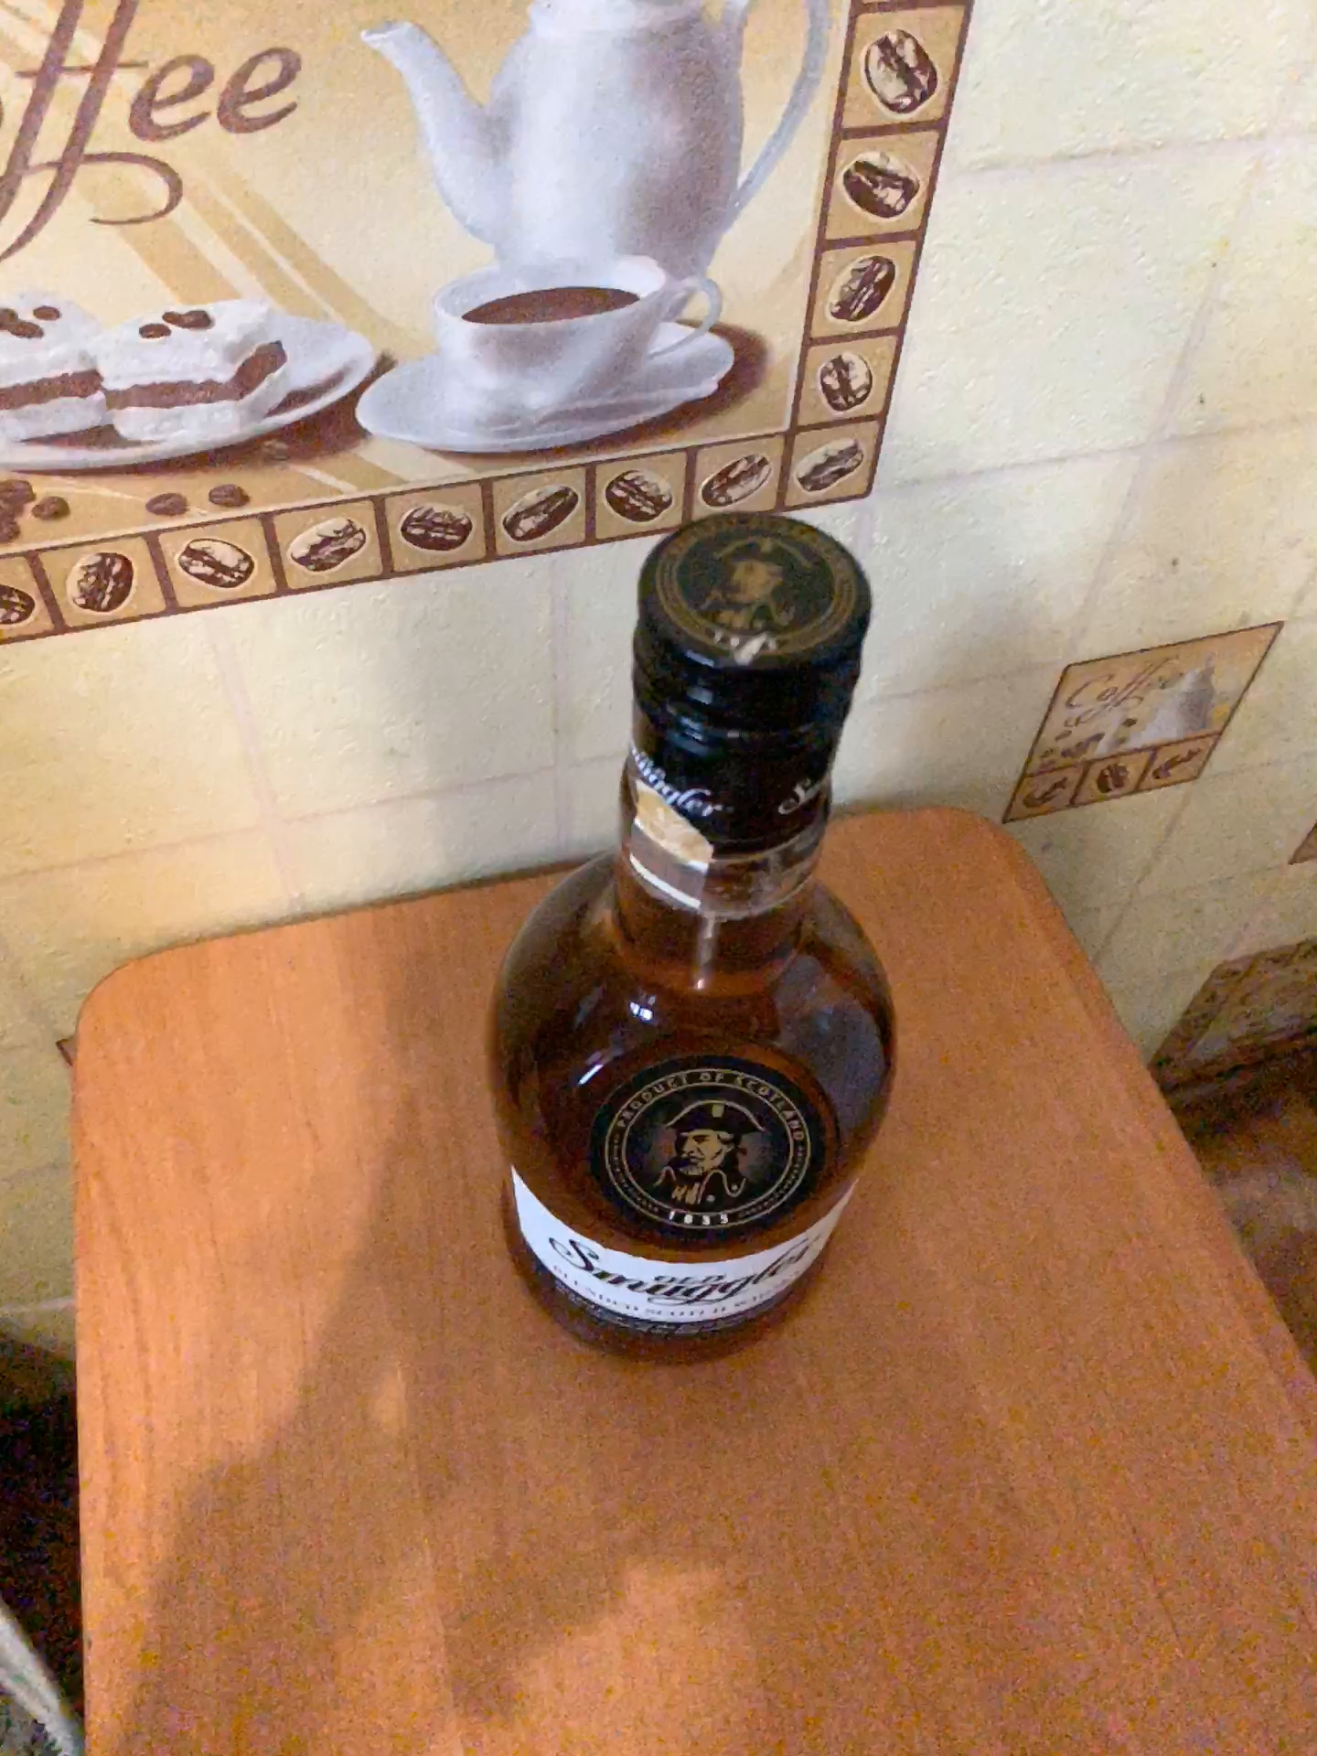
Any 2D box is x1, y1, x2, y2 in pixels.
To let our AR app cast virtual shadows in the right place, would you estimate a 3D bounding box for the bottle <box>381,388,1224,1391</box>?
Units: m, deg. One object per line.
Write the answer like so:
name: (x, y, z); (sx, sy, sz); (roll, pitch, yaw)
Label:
bottle: (0.011, 0.028, 0.275); (0.100, 0.229, 0.080); (1, 53, -3)
